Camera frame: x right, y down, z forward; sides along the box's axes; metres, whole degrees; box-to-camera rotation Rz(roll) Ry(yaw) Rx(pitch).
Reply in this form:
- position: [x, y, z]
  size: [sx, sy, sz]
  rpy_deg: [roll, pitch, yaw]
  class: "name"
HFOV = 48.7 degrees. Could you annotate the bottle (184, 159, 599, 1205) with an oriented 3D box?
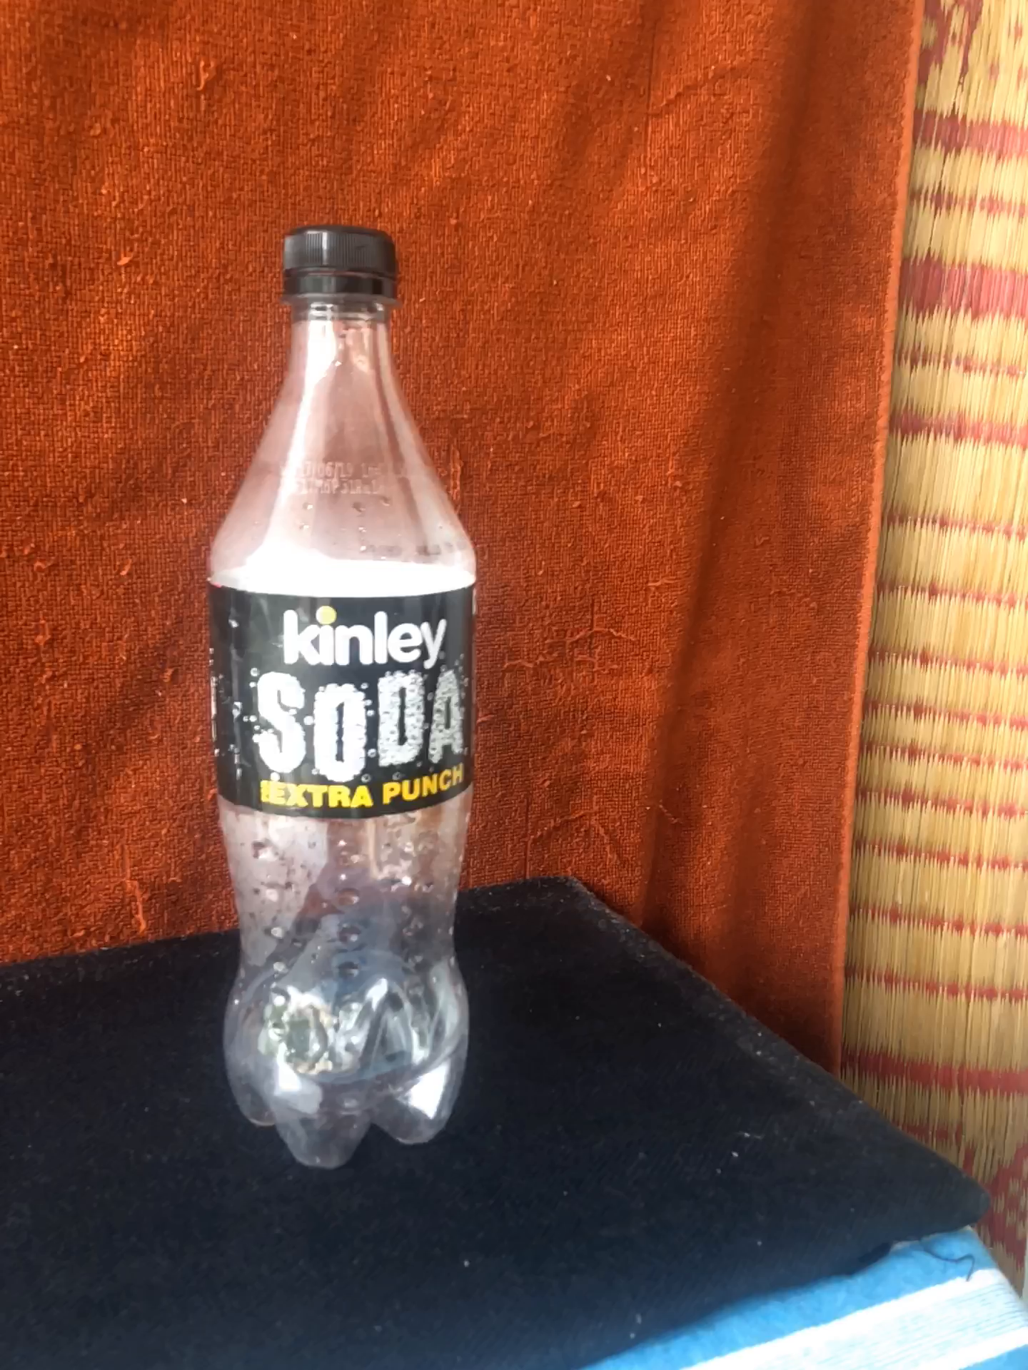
- position: [-0.043, 0.003, 0.321]
  size: [0.090, 0.259, 0.070]
  rpy_deg: [-1, 14, -22]
  class: "bottle"
